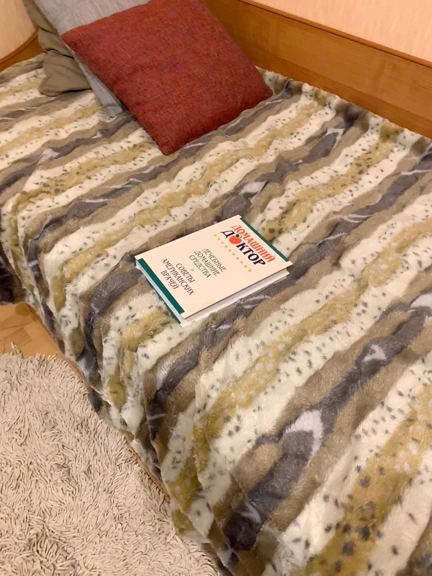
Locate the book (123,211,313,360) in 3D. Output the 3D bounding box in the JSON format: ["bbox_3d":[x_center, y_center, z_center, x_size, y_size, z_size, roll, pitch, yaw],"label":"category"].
[{"bbox_3d":[0.001,-0.018,0.722,0.241,0.040,0.191,-26,54,-22],"label":"book"}]
